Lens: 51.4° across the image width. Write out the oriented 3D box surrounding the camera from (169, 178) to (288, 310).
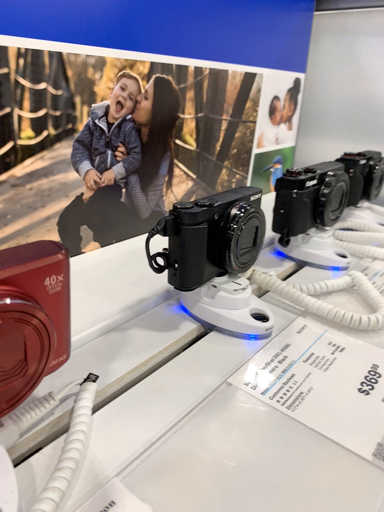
[{"bbox_3d":[0.031,-0.015,0.309,0.030,0.070,0.110,19,28,35],"label":"camera"}]
